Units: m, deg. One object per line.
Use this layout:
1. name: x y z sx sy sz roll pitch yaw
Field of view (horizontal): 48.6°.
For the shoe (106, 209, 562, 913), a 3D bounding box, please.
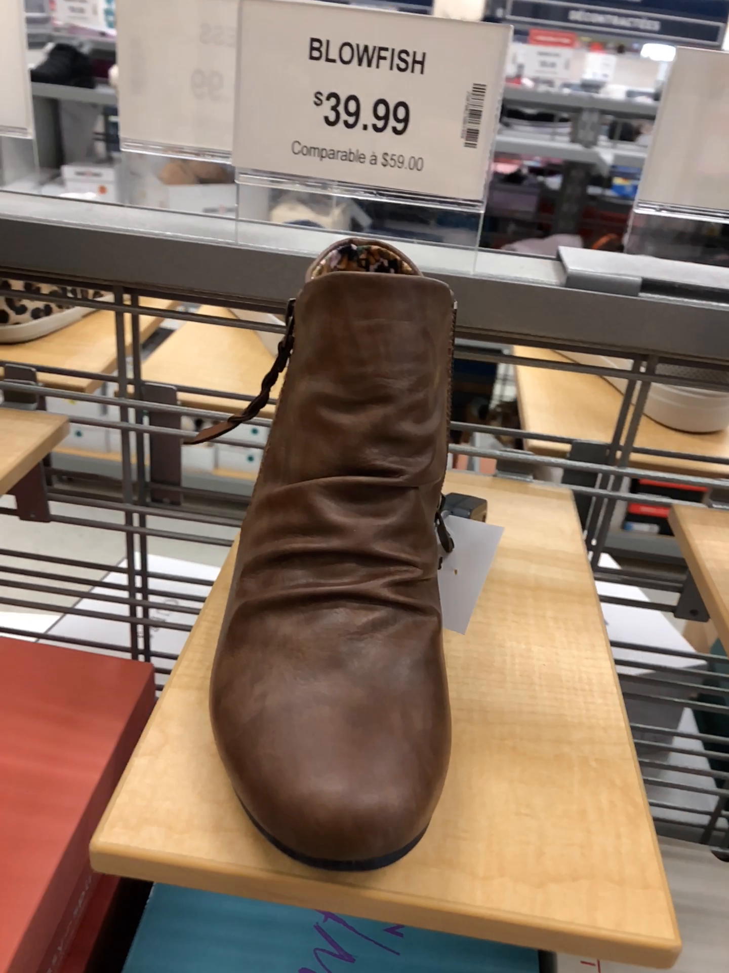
1. shoe: -0.011 -0.002 0.293 0.090 0.139 0.232 6 29 -2
